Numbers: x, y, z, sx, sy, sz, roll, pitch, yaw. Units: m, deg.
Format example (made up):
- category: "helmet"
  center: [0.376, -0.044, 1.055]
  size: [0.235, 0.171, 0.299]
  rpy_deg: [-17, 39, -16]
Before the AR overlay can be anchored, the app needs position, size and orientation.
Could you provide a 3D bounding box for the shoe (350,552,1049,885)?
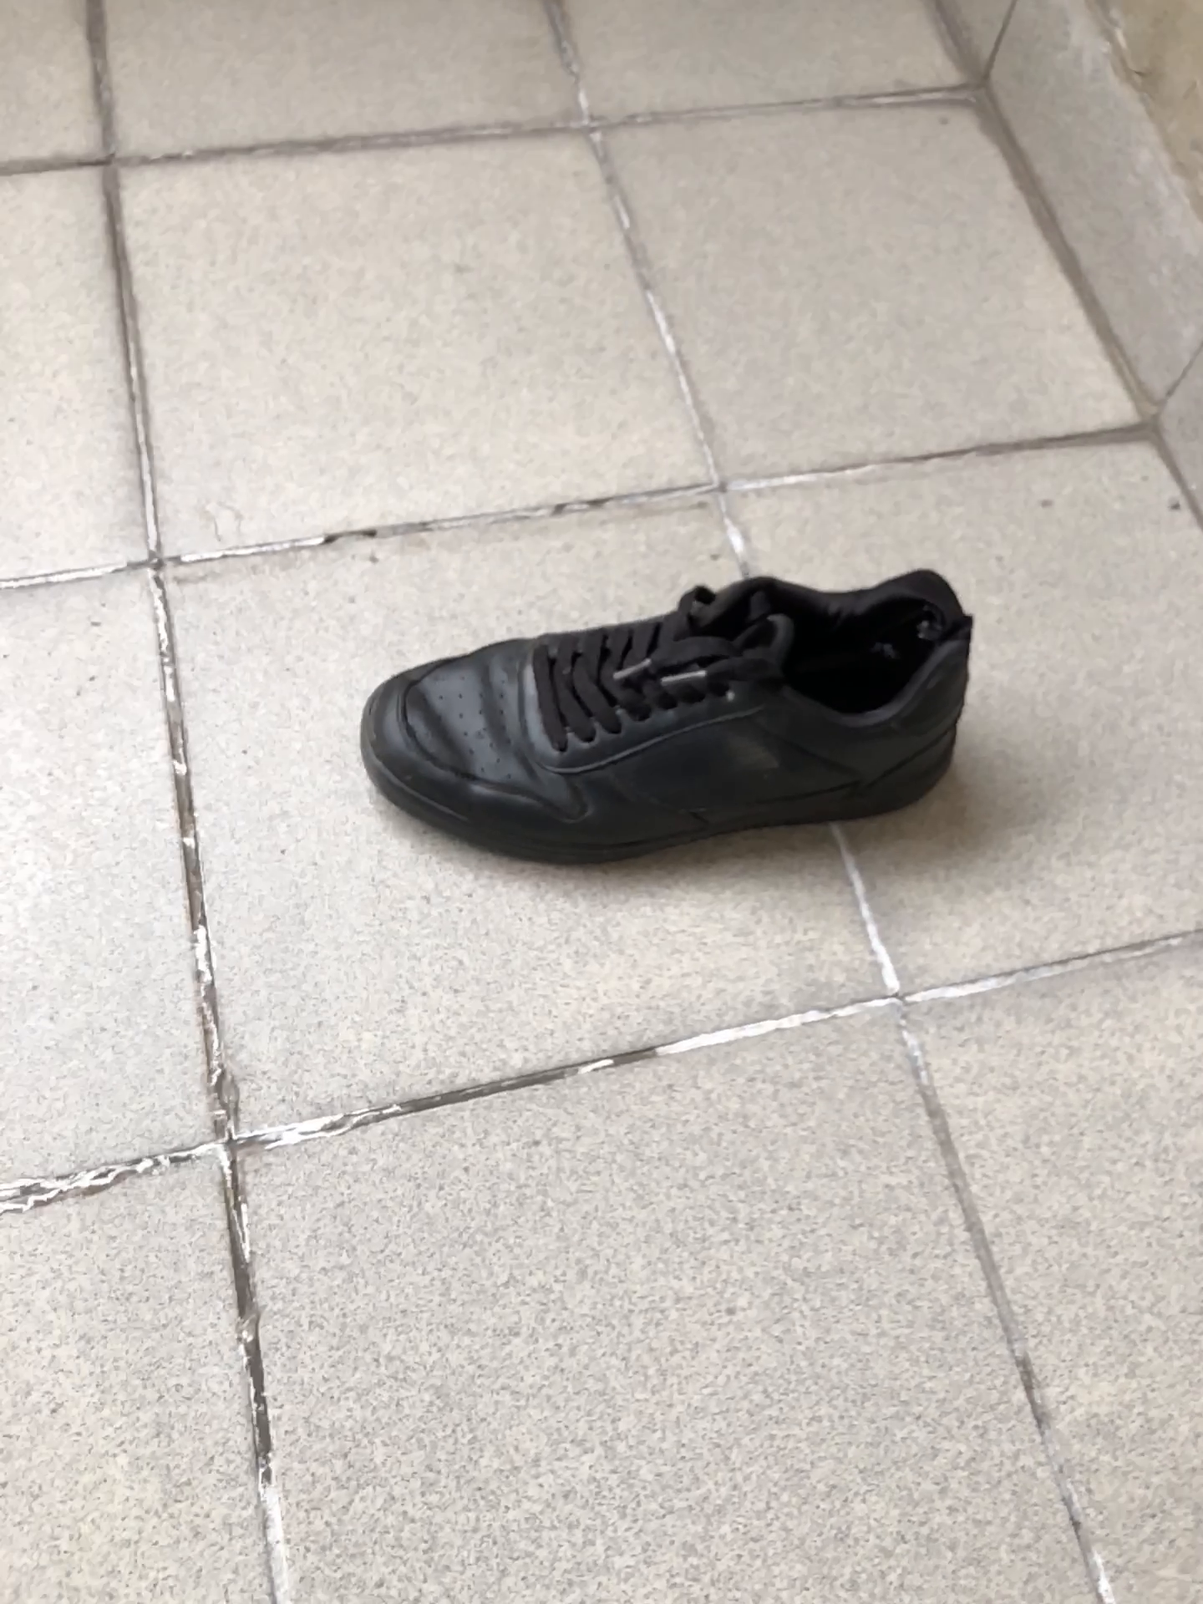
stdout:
- category: "shoe"
  center: [0.036, -0.037, 0.610]
  size: [0.290, 0.100, 0.110]
  rpy_deg: [-2, 66, -6]
